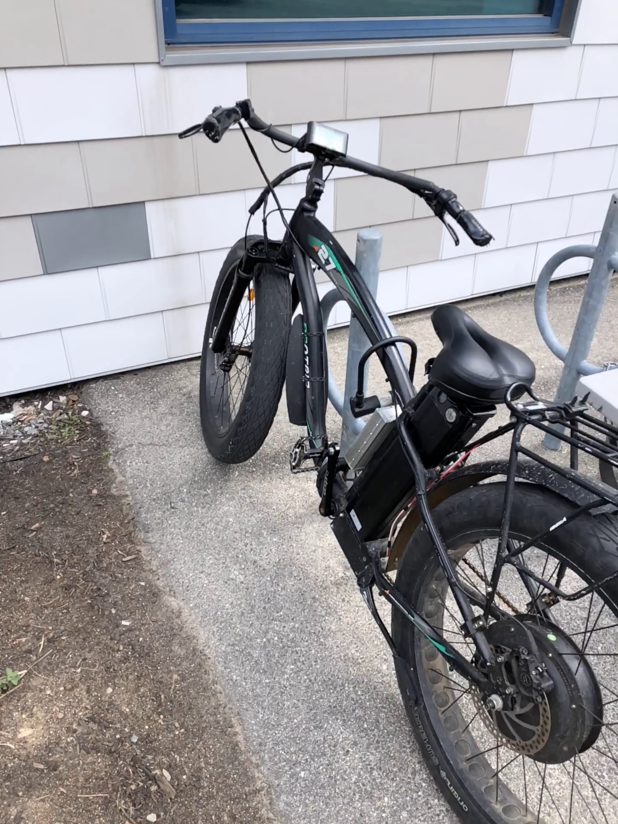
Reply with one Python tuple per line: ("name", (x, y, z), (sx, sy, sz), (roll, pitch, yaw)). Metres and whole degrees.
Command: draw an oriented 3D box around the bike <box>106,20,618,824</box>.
("bike", (0.239, -0.128, 1.691), (0.878, 1.170, 2.121), (-14, 41, -21))
